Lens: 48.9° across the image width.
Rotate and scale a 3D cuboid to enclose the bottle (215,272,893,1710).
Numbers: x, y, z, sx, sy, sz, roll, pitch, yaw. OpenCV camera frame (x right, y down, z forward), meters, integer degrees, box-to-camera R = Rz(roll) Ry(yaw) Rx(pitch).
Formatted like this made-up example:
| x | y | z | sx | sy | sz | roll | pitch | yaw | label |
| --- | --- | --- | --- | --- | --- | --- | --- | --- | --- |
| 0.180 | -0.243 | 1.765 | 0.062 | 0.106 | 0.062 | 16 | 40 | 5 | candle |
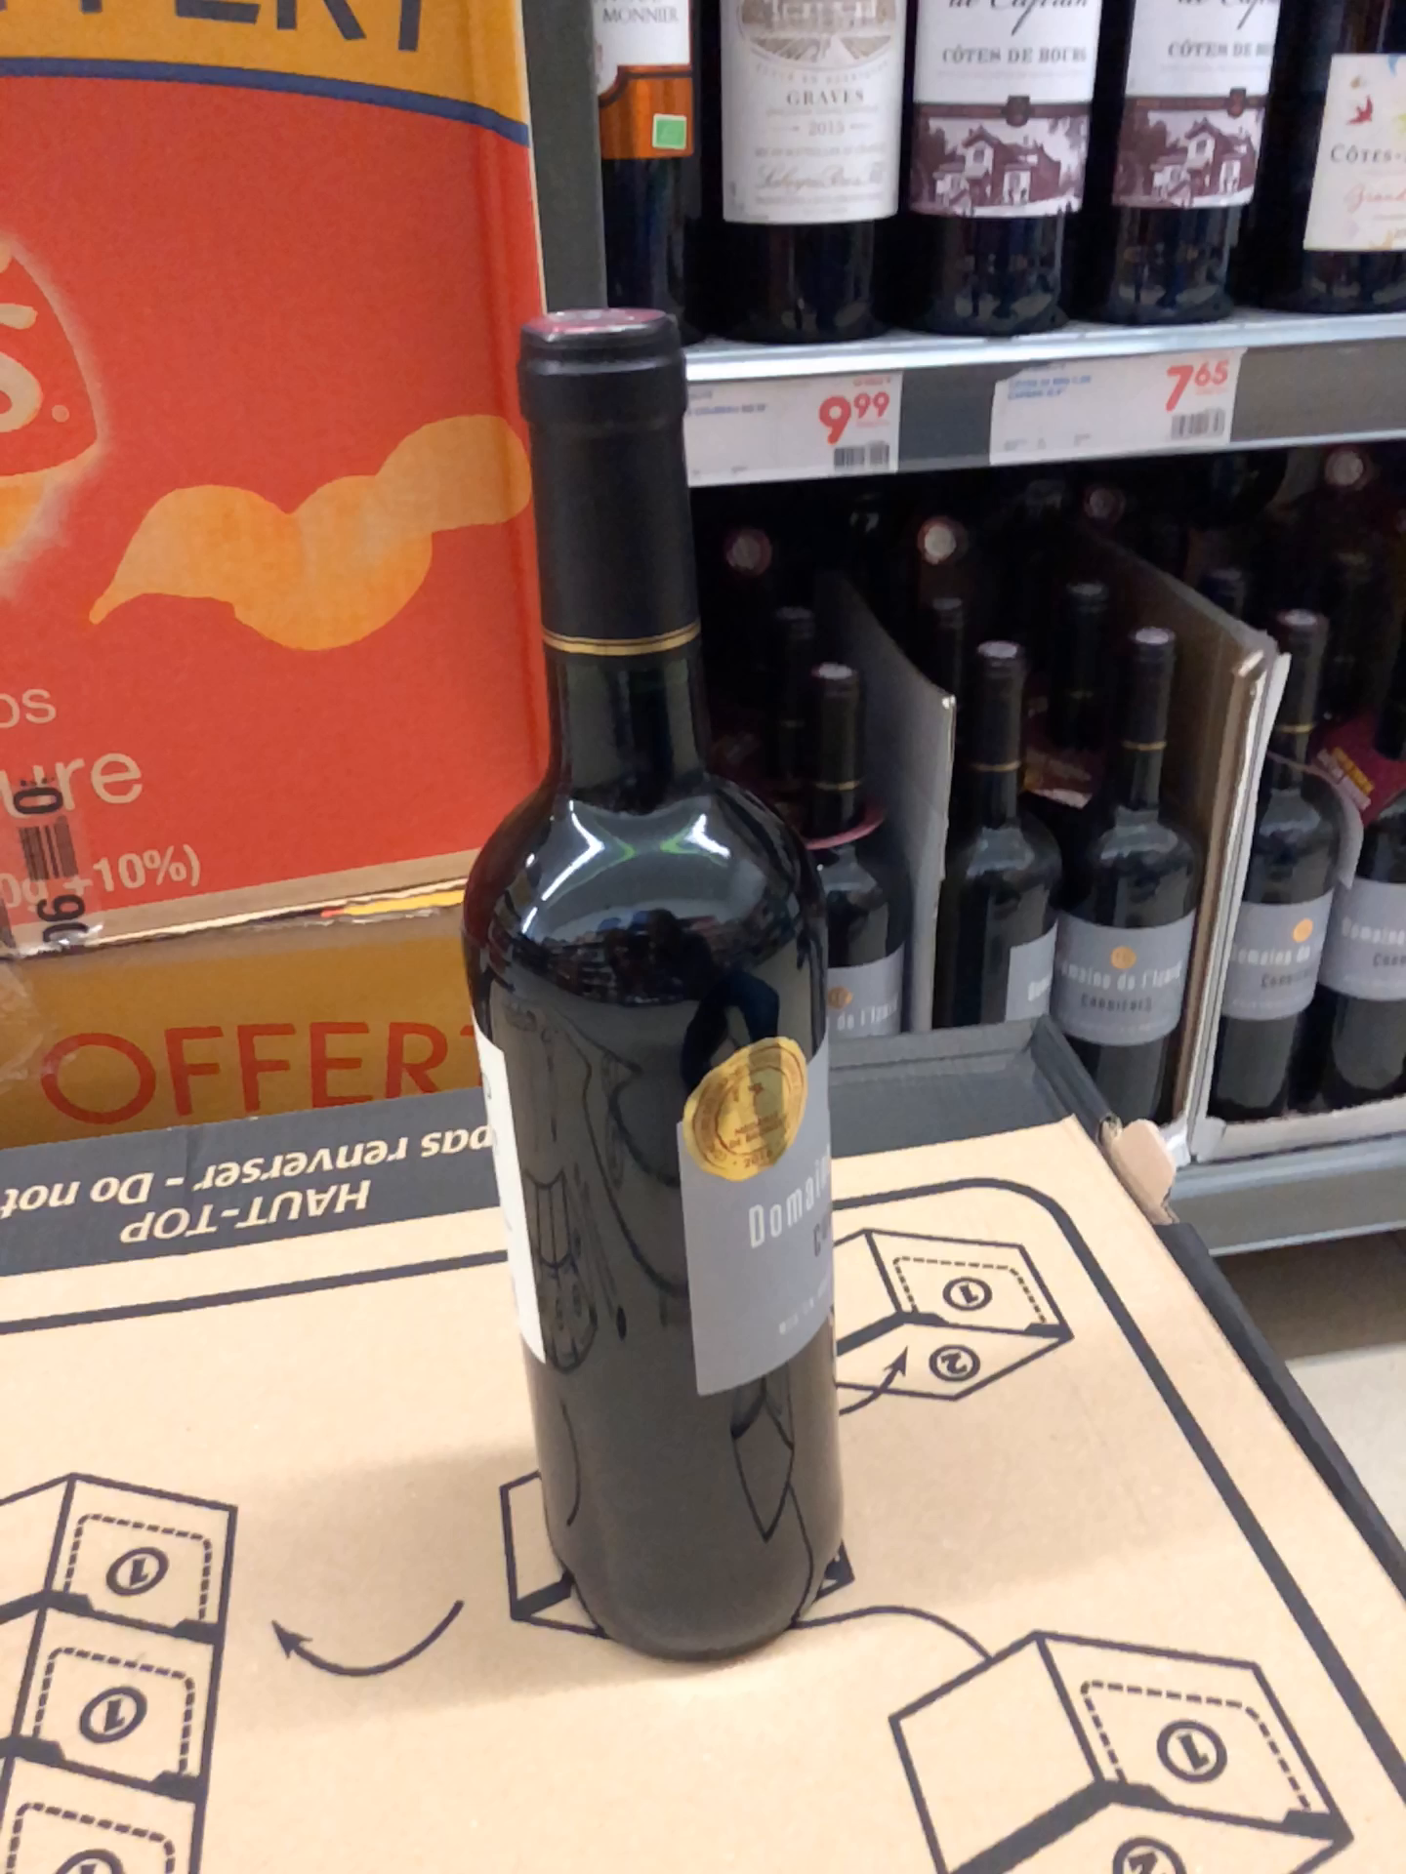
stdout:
| x | y | z | sx | sy | sz | roll | pitch | yaw | label |
| --- | --- | --- | --- | --- | --- | --- | --- | --- | --- |
| -0.012 | 0.022 | 0.312 | 0.090 | 0.278 | 0.091 | -1 | 29 | 1 | bottle |
